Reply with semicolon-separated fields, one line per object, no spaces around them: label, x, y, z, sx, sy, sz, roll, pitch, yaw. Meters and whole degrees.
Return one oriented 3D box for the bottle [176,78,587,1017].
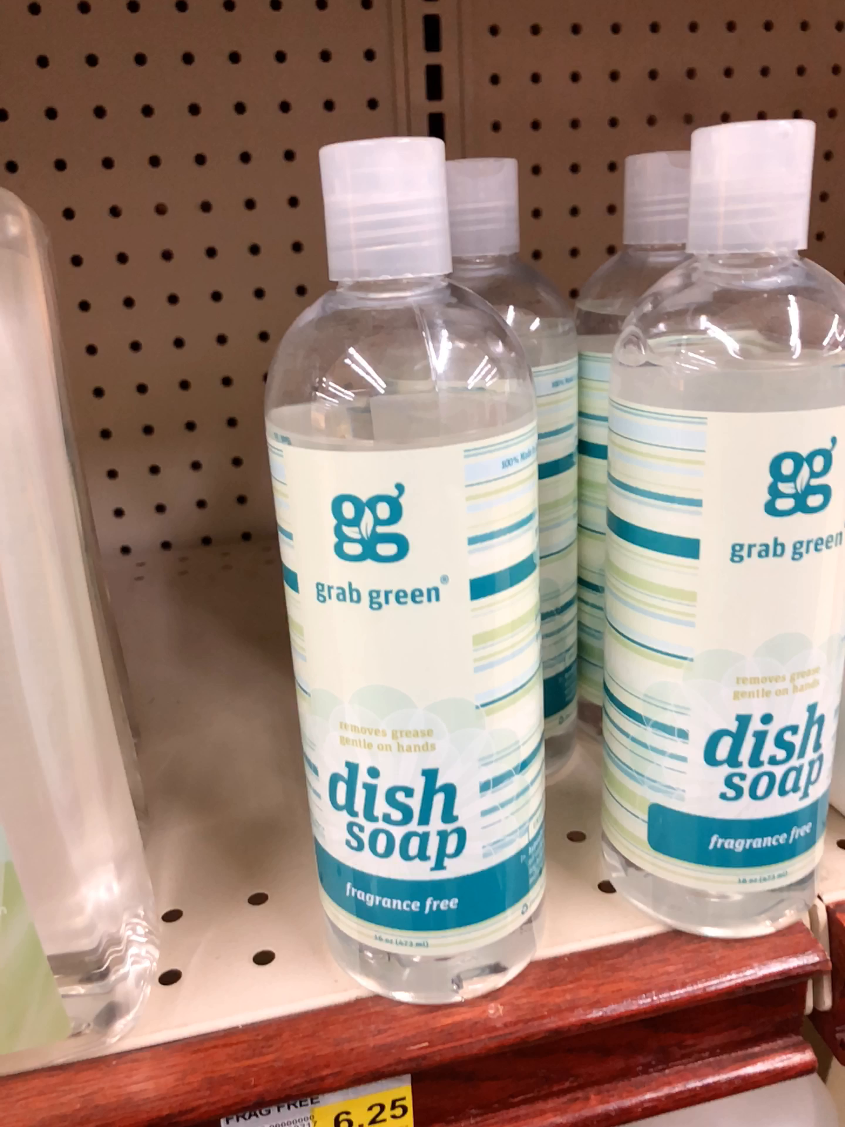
bottle;0.001;0.003;0.222;0.070;0.199;0.060;0;21;8
